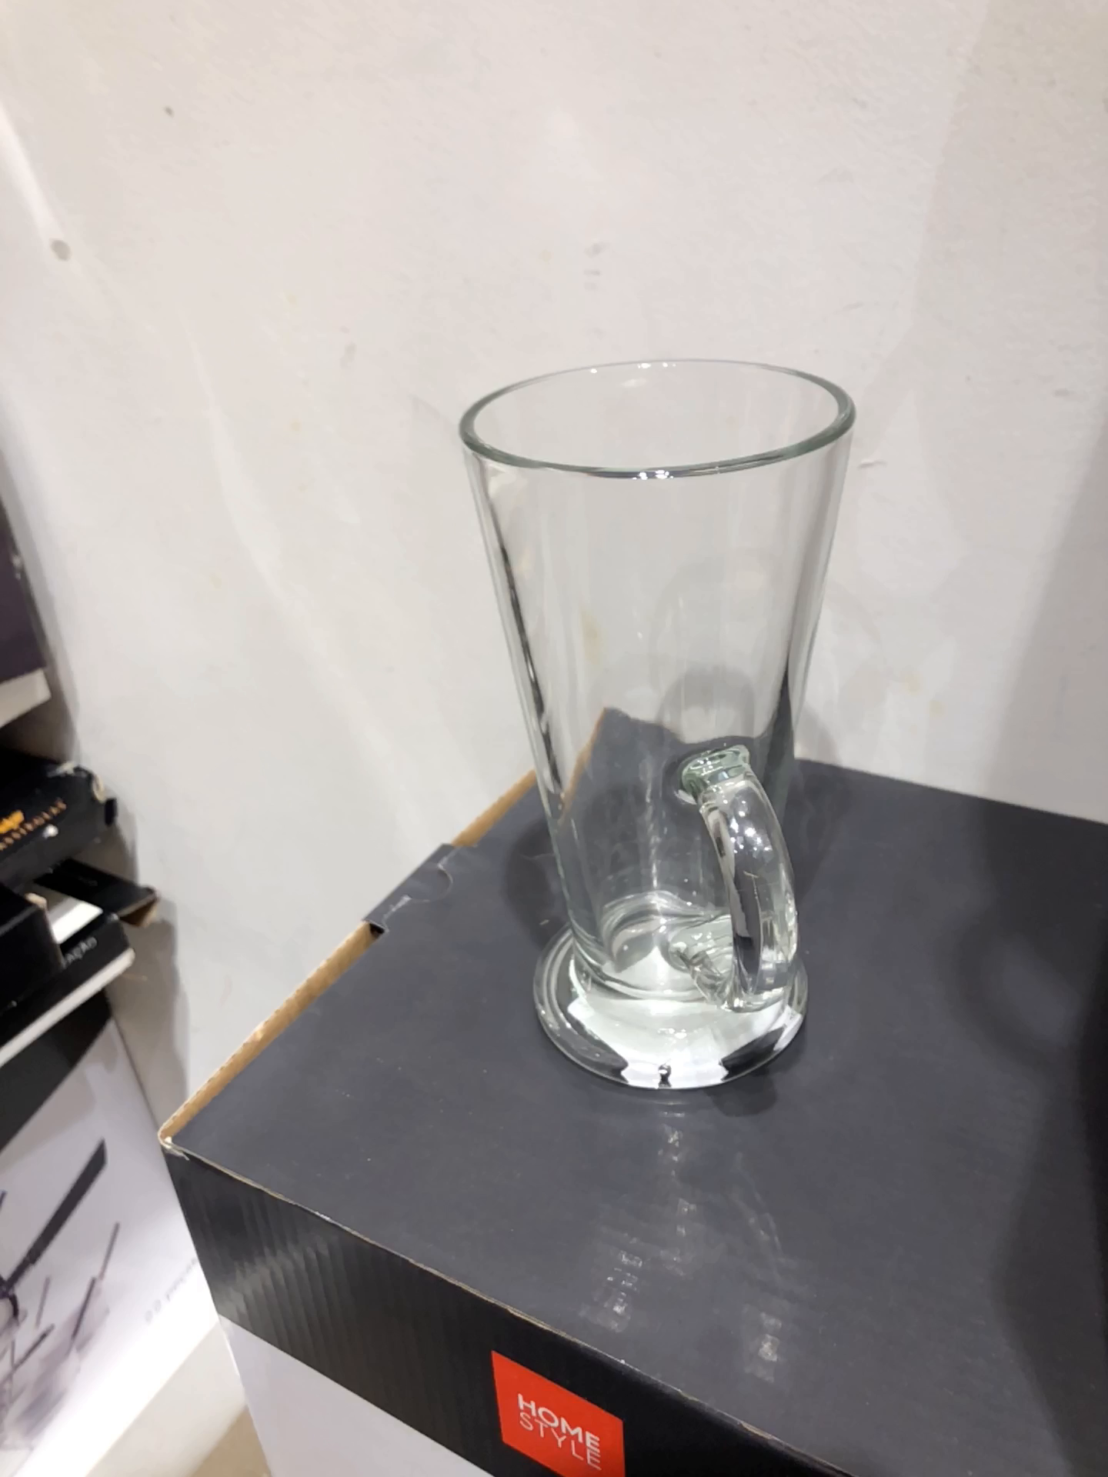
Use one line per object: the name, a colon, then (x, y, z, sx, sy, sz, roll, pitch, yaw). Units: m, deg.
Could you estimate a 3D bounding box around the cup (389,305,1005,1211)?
cup: (0.025, 0.001, 0.258, 0.080, 0.149, 0.091, -14, 31, -12)
